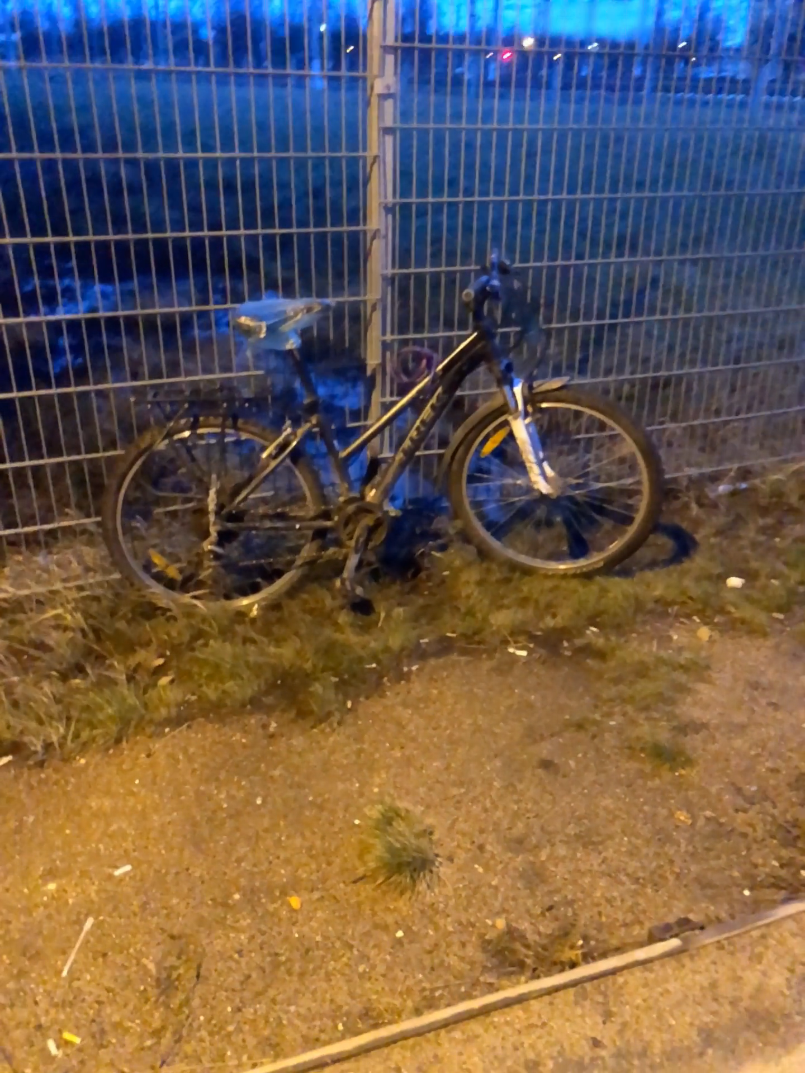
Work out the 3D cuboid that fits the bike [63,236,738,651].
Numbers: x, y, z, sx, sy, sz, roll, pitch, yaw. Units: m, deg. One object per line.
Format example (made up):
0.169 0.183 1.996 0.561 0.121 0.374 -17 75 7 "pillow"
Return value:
-0.045 -0.286 2.517 1.583 0.947 0.573 -3 27 -4 "bike"
